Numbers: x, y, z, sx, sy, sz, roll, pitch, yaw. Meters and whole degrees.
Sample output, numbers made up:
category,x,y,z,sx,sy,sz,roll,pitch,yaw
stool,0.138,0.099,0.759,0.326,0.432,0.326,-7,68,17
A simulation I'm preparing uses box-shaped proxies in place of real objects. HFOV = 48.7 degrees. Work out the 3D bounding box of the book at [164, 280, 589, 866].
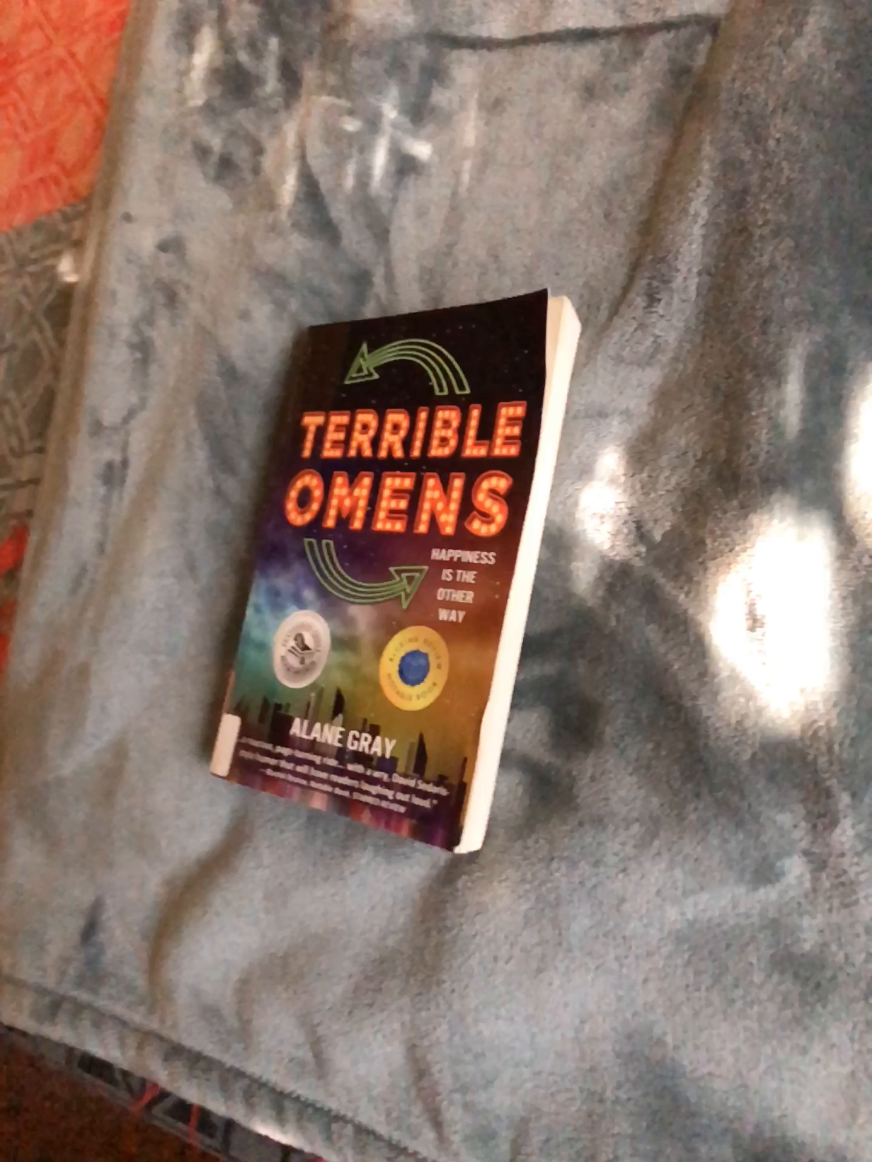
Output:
category,x,y,z,sx,sy,sz,roll,pitch,yaw
book,-0.027,-0.009,0.372,0.140,0.028,0.200,6,81,37
